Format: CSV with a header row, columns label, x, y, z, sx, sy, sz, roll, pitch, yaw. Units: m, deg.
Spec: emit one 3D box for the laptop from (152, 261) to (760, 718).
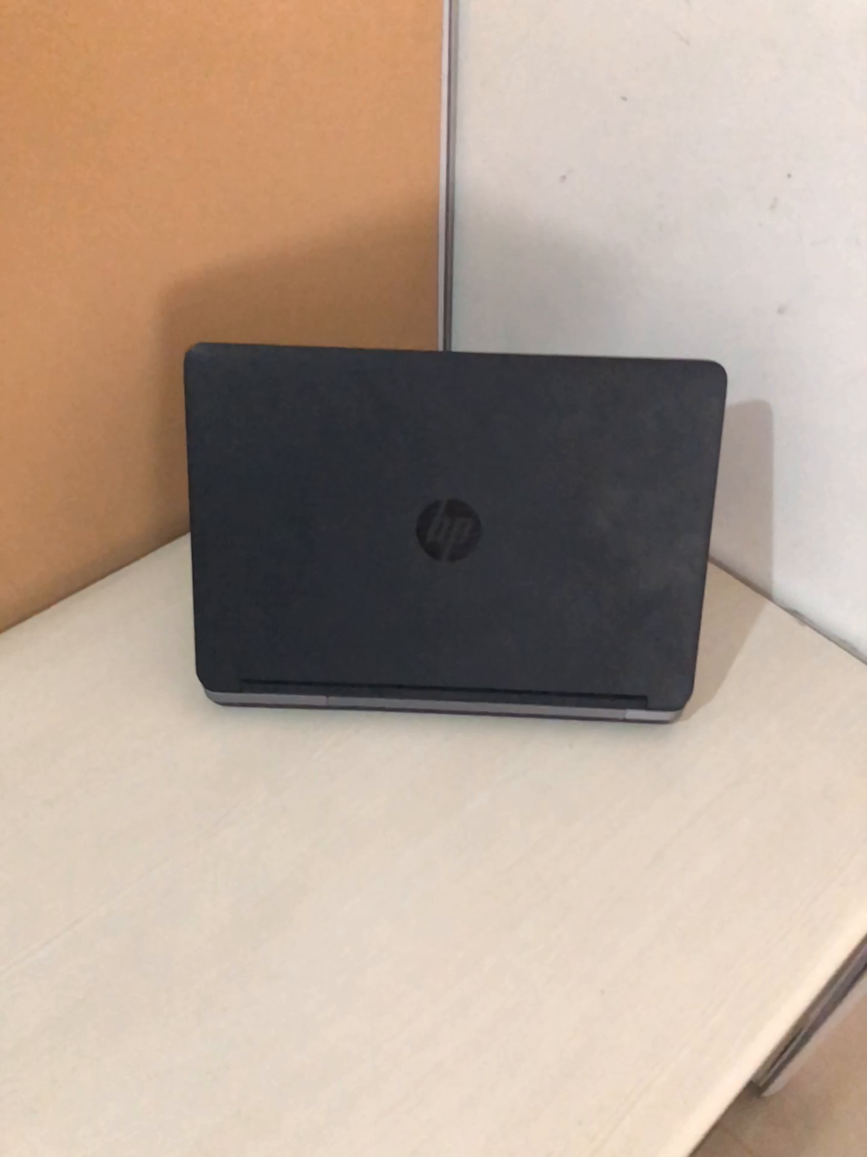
label,x,y,z,sx,sy,sz,roll,pitch,yaw
laptop,0.012,-0.064,0.646,0.318,0.193,0.228,2,45,0
